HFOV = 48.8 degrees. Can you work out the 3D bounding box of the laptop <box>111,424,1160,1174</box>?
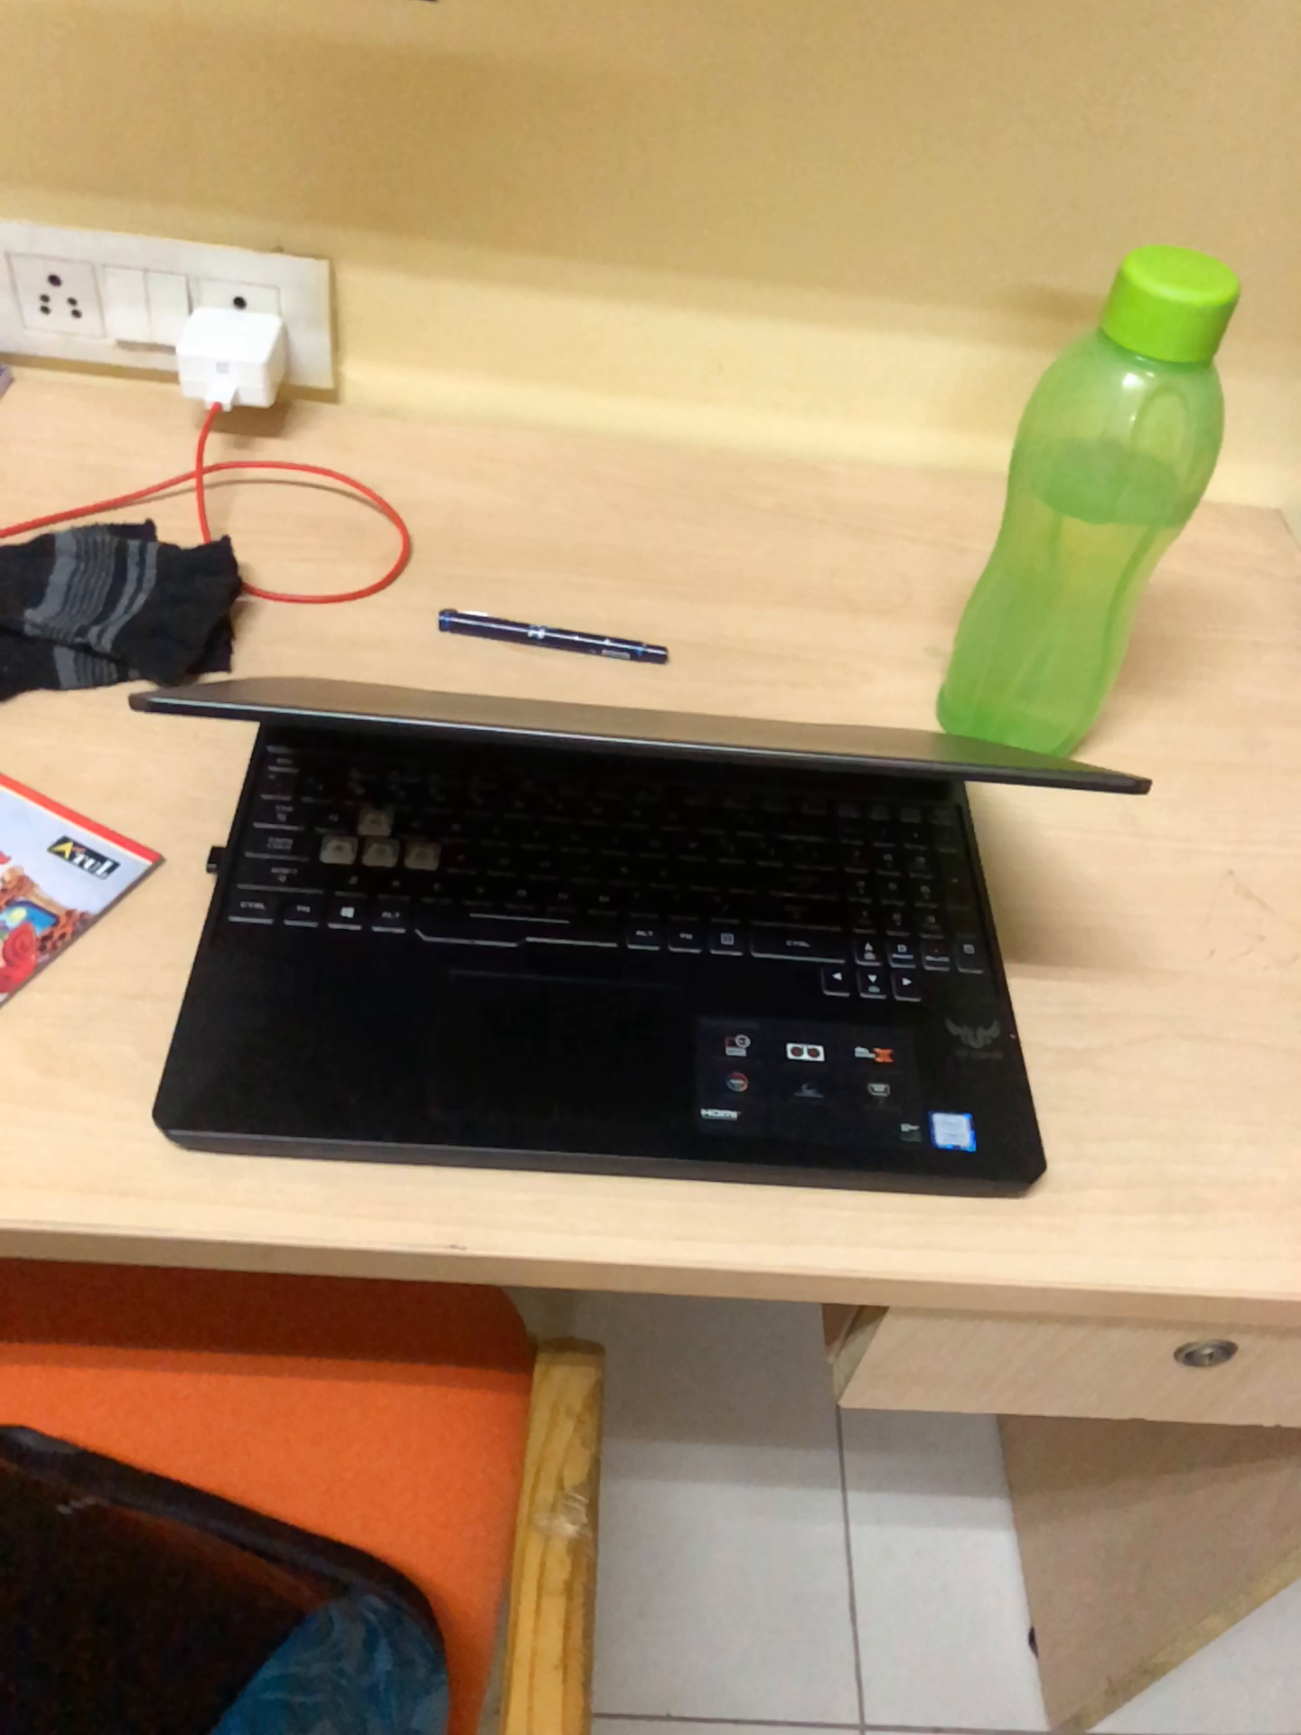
[{"bbox_3d":[-0.009,-0.032,0.594,0.339,0.147,0.249,4,49,-4],"label":"laptop"}]
